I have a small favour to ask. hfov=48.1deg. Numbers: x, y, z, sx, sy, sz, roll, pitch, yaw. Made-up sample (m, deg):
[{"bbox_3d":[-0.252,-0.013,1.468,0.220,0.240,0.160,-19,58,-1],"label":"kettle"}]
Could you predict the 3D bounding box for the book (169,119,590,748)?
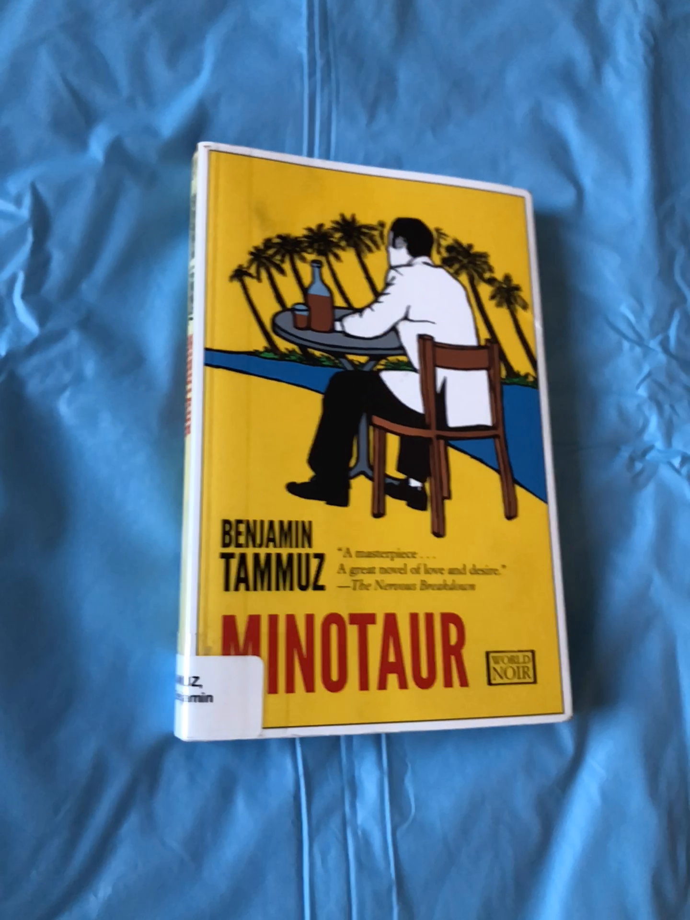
[{"bbox_3d":[0.012,-0.012,0.285,0.142,0.027,0.212,3,77,-16],"label":"book"}]
